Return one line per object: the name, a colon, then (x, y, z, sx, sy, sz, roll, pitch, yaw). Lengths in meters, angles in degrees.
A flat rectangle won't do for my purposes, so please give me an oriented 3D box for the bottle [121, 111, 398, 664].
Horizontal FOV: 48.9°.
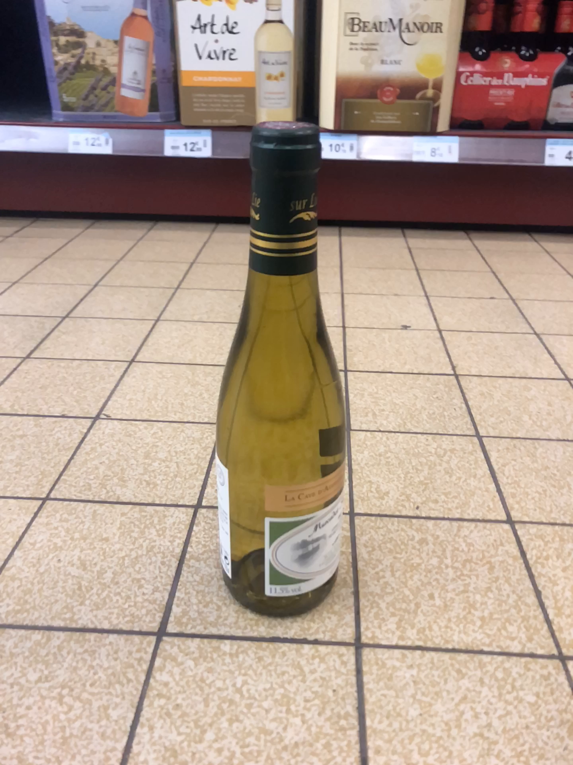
bottle: (-0.008, 0.006, 0.299, 0.080, 0.239, 0.081, 1, 27, 0)
